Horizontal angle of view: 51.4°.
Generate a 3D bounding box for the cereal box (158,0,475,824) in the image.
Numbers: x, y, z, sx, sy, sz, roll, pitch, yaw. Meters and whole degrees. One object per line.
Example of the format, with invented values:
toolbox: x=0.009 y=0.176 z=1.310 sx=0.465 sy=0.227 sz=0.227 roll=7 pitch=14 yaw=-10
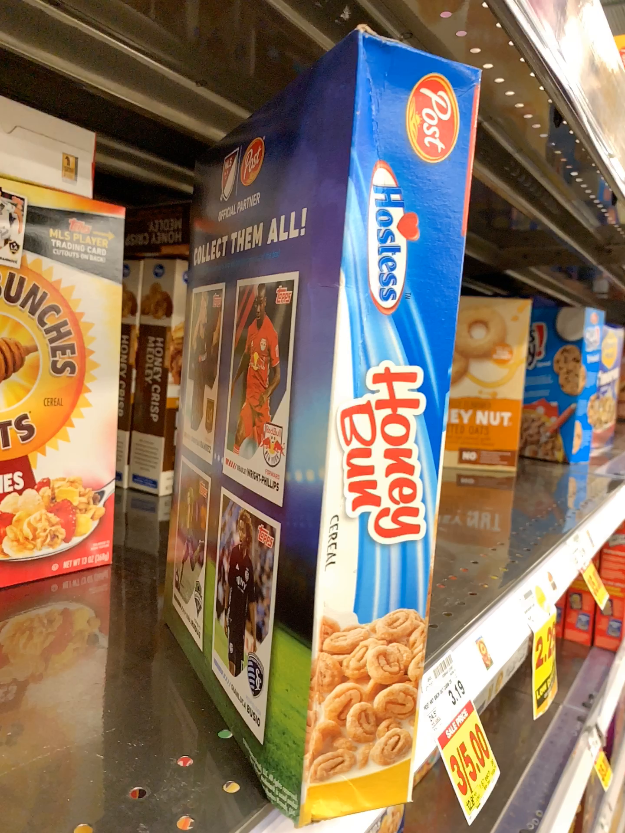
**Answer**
cereal box: x=-0.020 y=-0.005 z=0.322 sx=0.060 sy=0.280 sz=0.200 roll=1 pitch=6 yaw=-25
